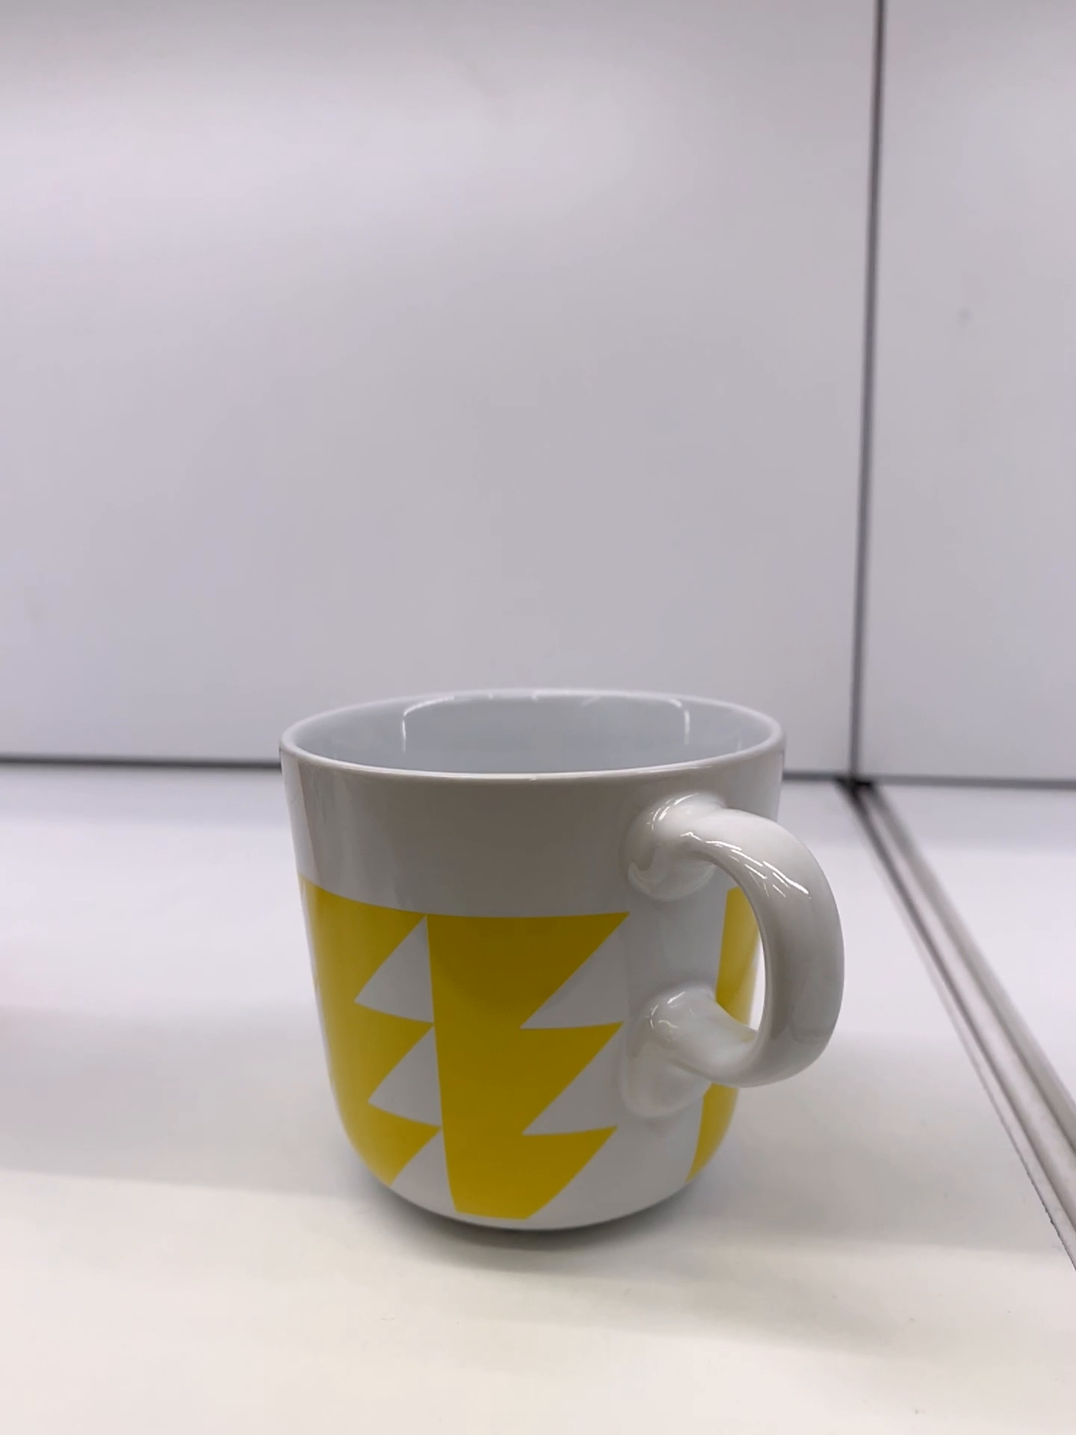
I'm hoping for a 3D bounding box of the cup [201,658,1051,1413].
[{"bbox_3d":[0.005,0.030,0.181,0.084,0.065,0.107,-6,10,-32],"label":"cup"}]
